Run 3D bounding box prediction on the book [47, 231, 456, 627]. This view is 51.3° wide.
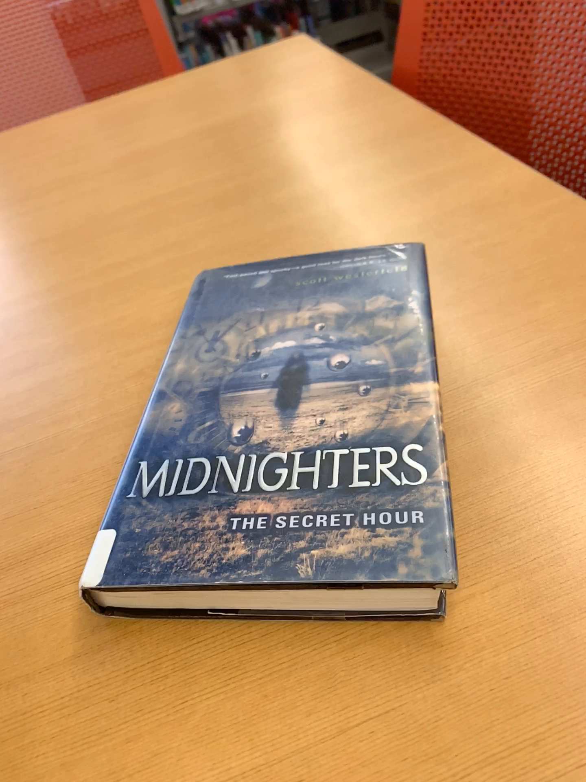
[{"bbox_3d":[-0.006,0.004,0.305,0.150,0.040,0.215,-5,44,13],"label":"book"}]
